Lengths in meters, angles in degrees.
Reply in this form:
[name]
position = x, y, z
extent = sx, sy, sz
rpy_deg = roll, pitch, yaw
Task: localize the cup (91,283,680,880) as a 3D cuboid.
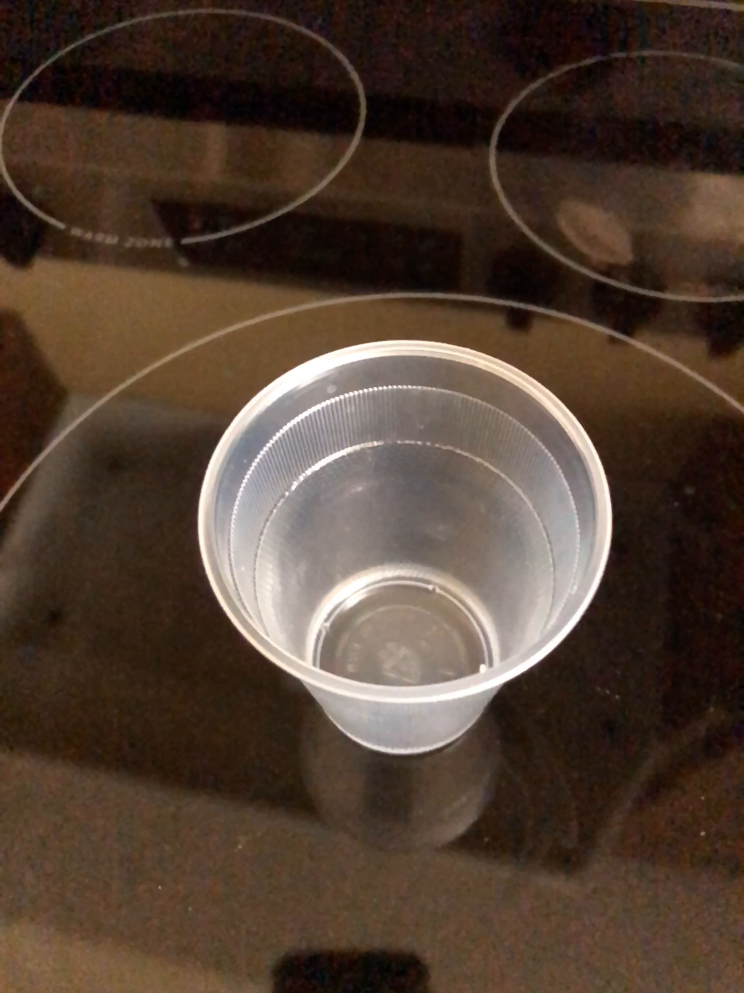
[cup]
position = 0.008, 0.021, 0.178
extent = 0.079, 0.081, 0.081
rpy_deg = -1, 59, 2
